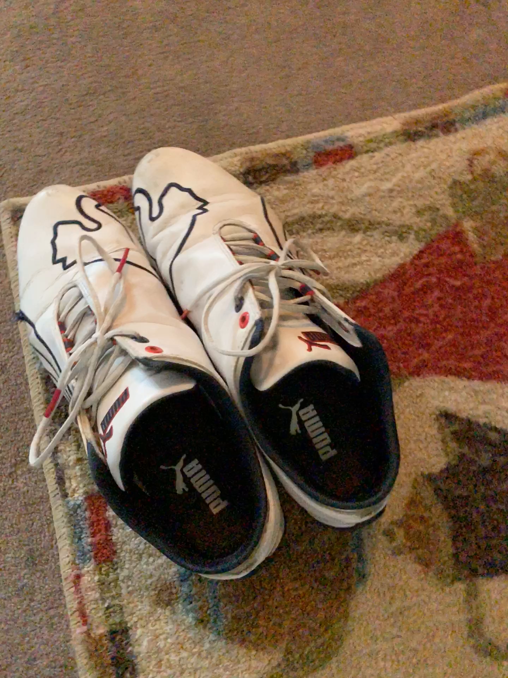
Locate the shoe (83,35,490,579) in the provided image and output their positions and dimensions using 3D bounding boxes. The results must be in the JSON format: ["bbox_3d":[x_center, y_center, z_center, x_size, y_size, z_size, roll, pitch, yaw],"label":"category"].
[{"bbox_3d":[0.009,-0.022,0.338,0.100,0.107,0.290,-26,82,-8],"label":"shoe"}]

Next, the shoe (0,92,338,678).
[{"bbox_3d":[-0.079,0.019,0.321,0.100,0.107,0.290,-30,82,-9],"label":"shoe"}]
